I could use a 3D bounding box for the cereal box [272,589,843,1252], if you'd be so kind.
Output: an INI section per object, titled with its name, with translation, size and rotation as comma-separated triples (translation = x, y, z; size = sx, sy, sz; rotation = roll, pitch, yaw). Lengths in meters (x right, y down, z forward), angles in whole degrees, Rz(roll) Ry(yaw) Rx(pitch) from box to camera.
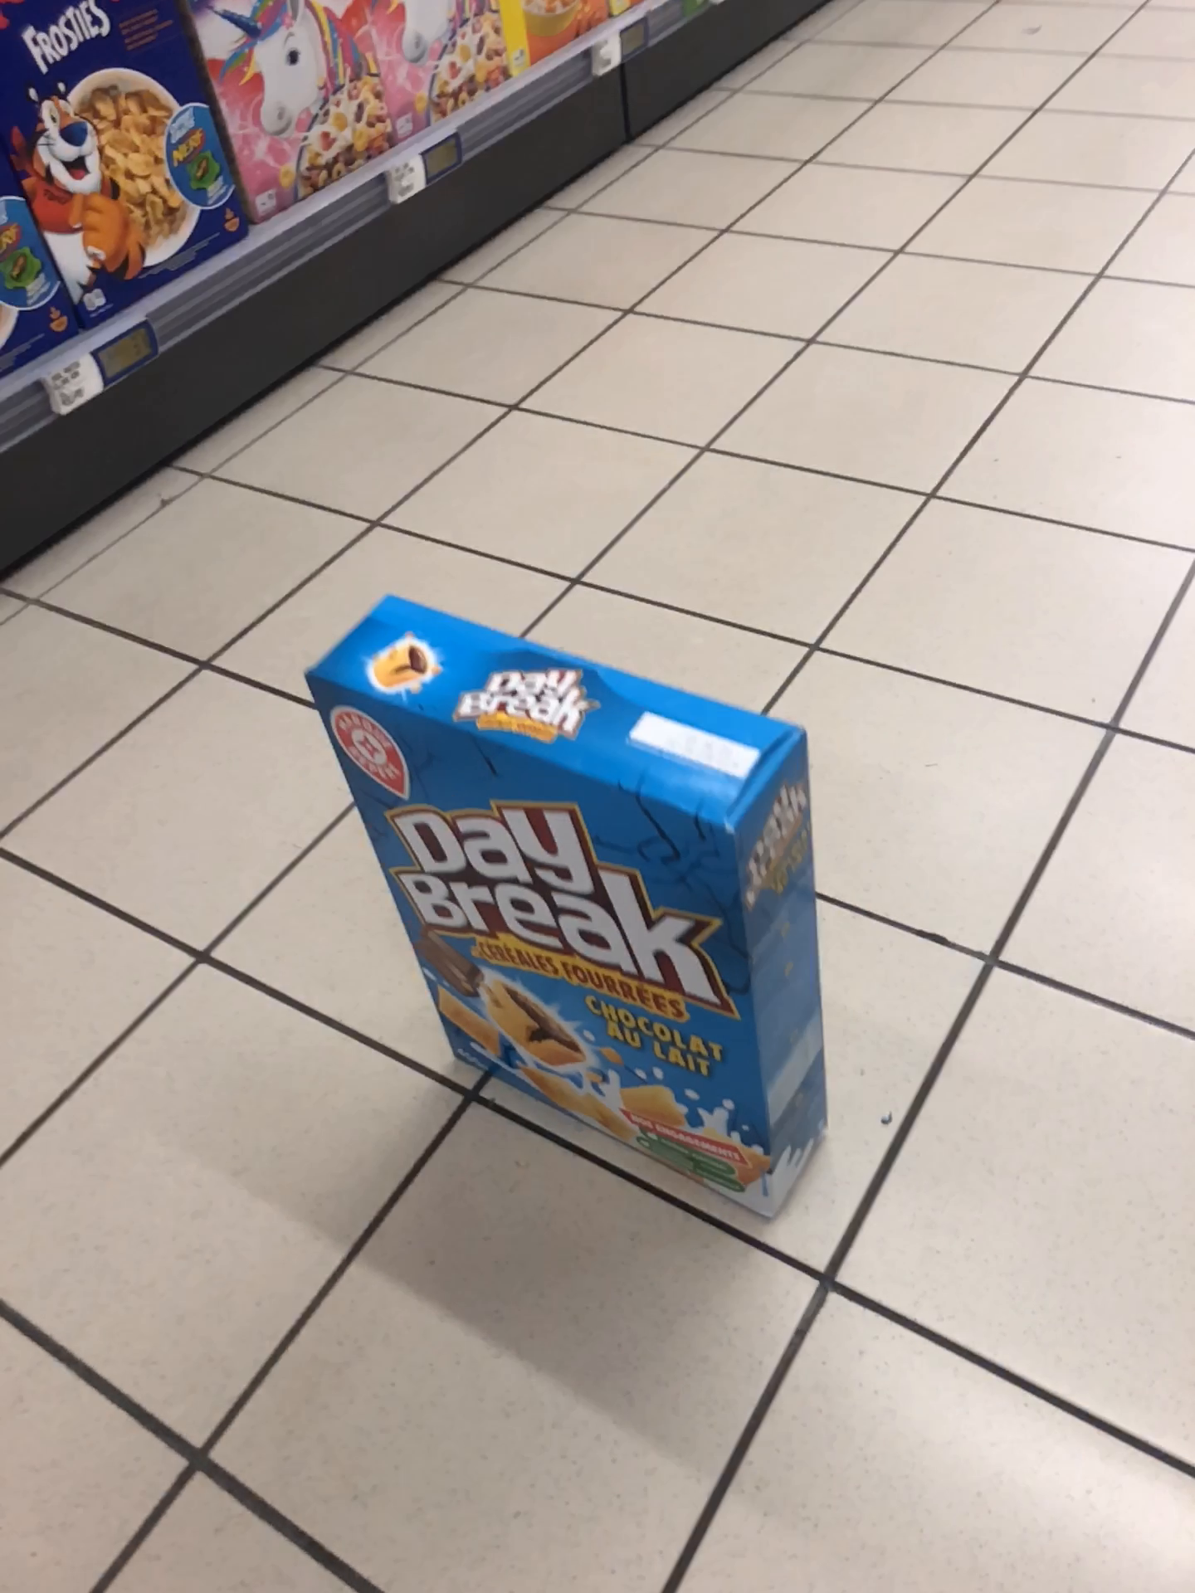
[cereal box]
translation = -0.003, 0.060, 0.556
size = 0.200, 0.258, 0.070
rotation = 20, 53, 27
